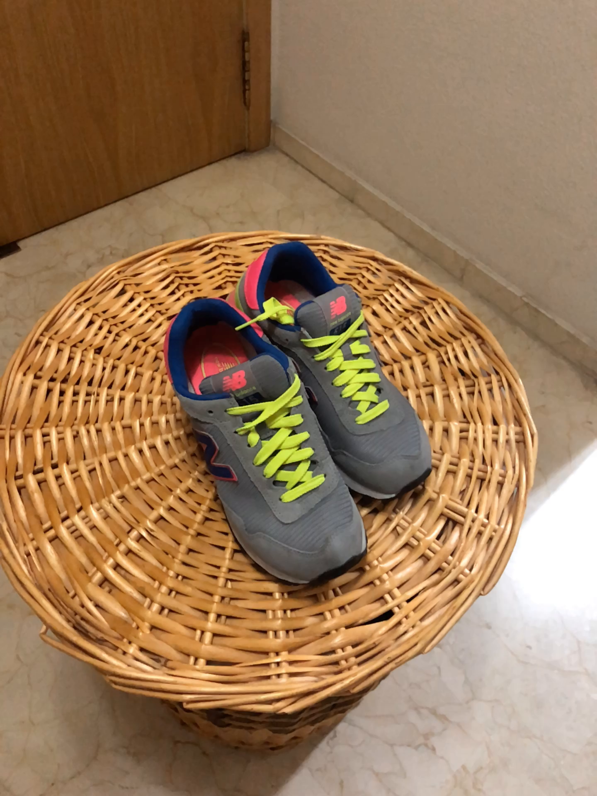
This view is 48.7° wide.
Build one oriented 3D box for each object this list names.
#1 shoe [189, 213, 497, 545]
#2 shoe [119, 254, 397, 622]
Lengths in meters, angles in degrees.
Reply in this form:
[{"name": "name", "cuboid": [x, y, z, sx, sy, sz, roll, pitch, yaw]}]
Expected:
[{"name": "shoe", "cuboid": [0.021, -0.028, 0.581, 0.100, 0.110, 0.281, -27, 58, -25]}, {"name": "shoe", "cuboid": [-0.041, 0.021, 0.525, 0.100, 0.110, 0.261, -23, 57, -16]}]
